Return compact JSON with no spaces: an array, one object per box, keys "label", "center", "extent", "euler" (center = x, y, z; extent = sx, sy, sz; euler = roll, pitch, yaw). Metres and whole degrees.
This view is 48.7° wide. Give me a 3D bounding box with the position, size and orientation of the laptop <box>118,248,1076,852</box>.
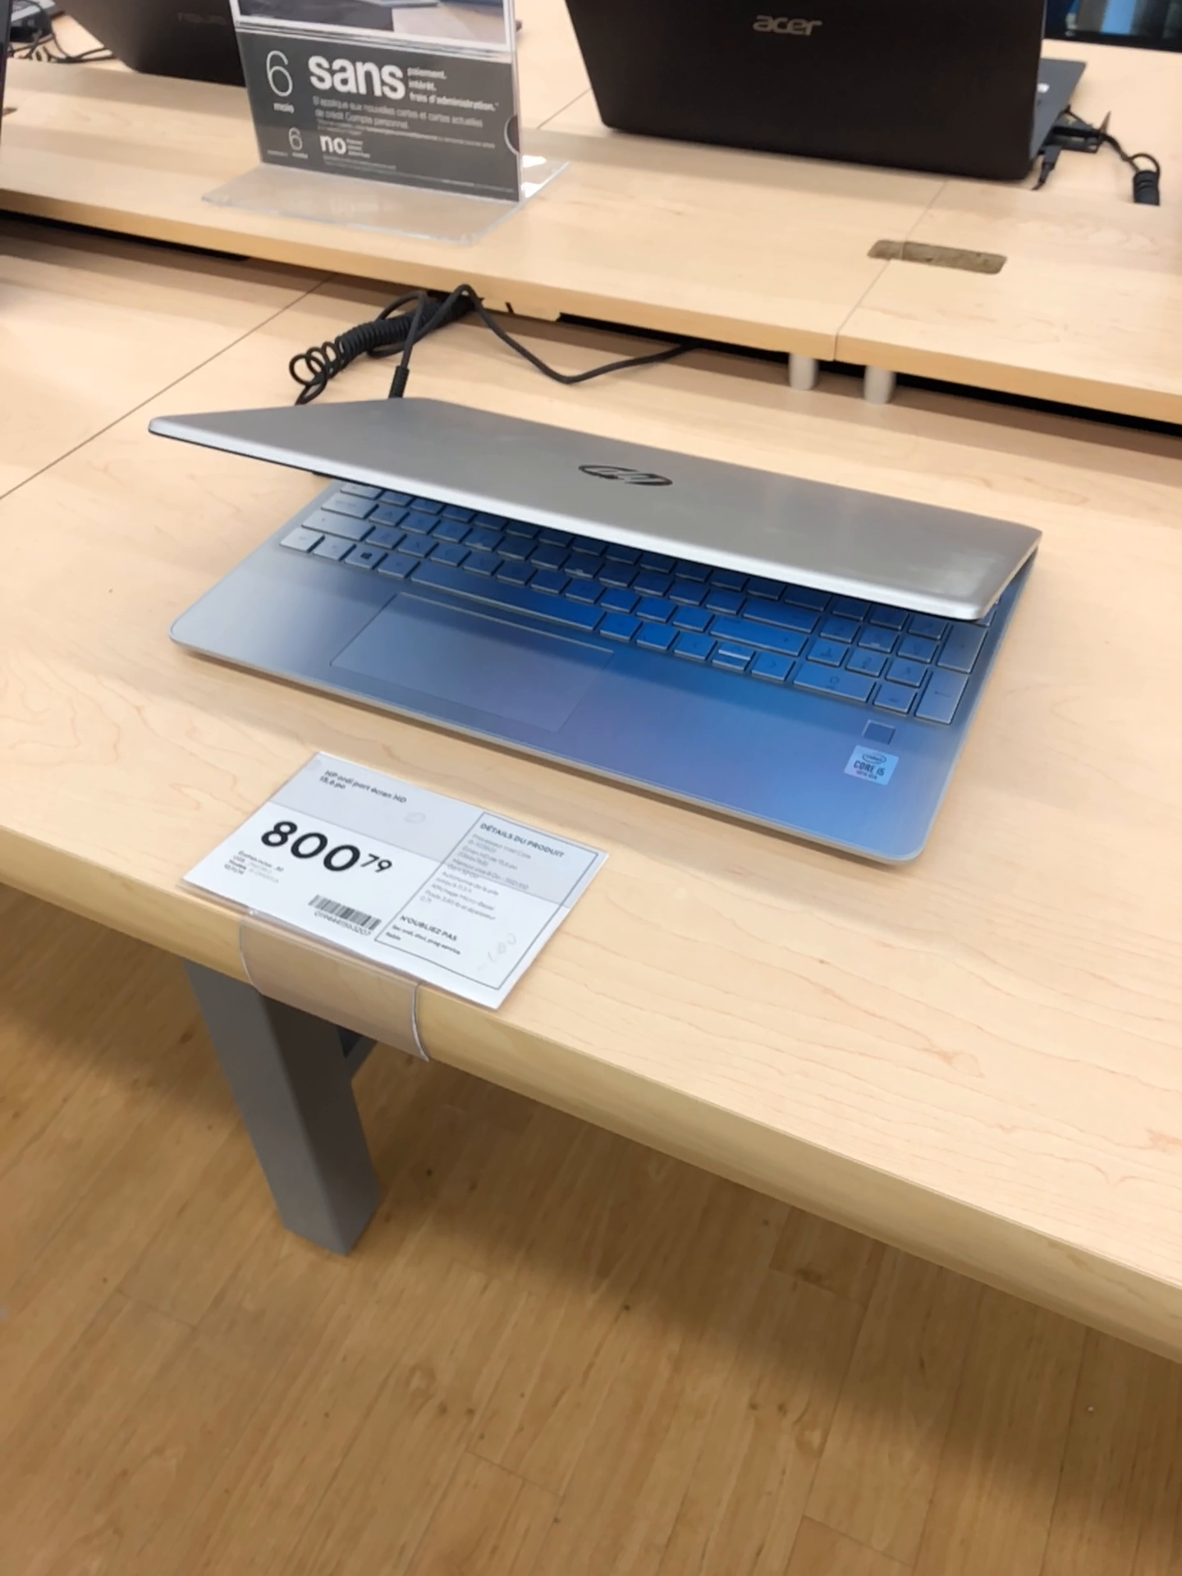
[{"label":"laptop","center":[0.010,-0.128,0.582],"extent":[0.340,0.086,0.224],"euler":[17,49,18]}]
